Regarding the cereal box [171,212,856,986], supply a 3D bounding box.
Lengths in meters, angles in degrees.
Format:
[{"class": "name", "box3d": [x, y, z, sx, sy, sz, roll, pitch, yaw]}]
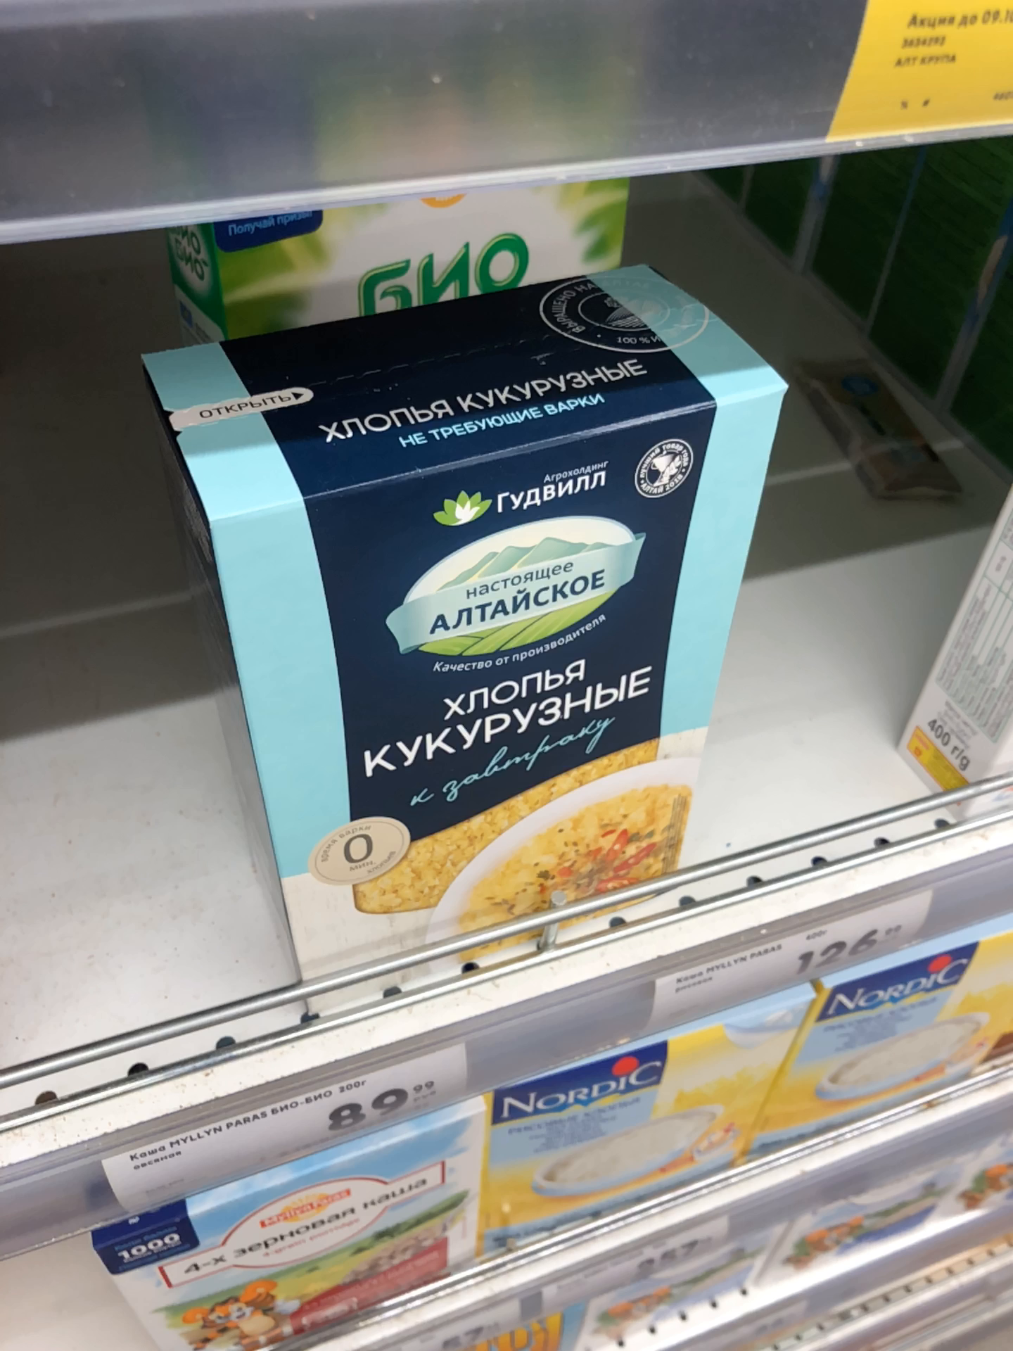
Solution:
[{"class": "cereal box", "box3d": [-0.002, -0.010, 0.304, 0.130, 0.189, 0.060, -15, 49, -17]}]
